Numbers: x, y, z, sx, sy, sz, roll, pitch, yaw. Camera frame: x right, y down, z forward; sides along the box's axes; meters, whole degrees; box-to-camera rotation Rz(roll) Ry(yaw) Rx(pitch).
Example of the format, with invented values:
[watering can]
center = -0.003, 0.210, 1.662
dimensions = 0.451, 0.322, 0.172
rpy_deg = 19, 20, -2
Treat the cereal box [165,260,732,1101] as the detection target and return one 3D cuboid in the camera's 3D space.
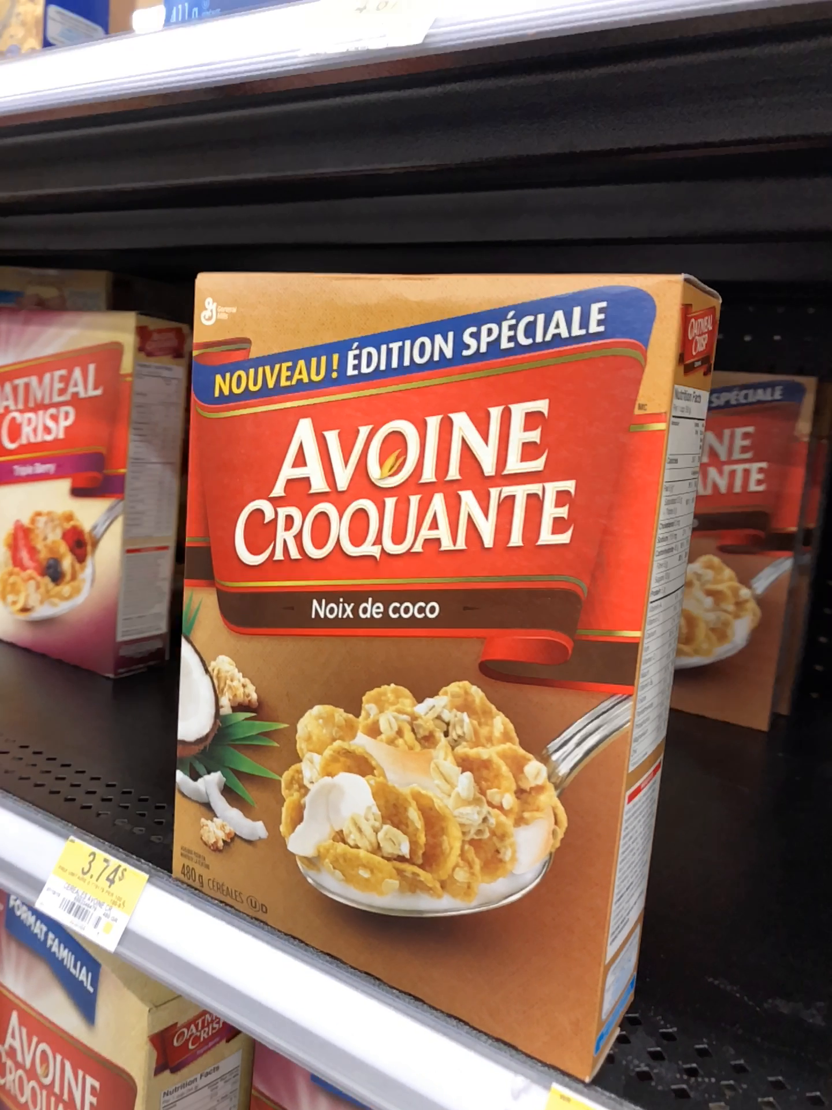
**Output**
[cereal box]
center = -0.004, 0.029, 0.358
dimensions = 0.200, 0.269, 0.050
rpy_deg = 11, 11, 32
